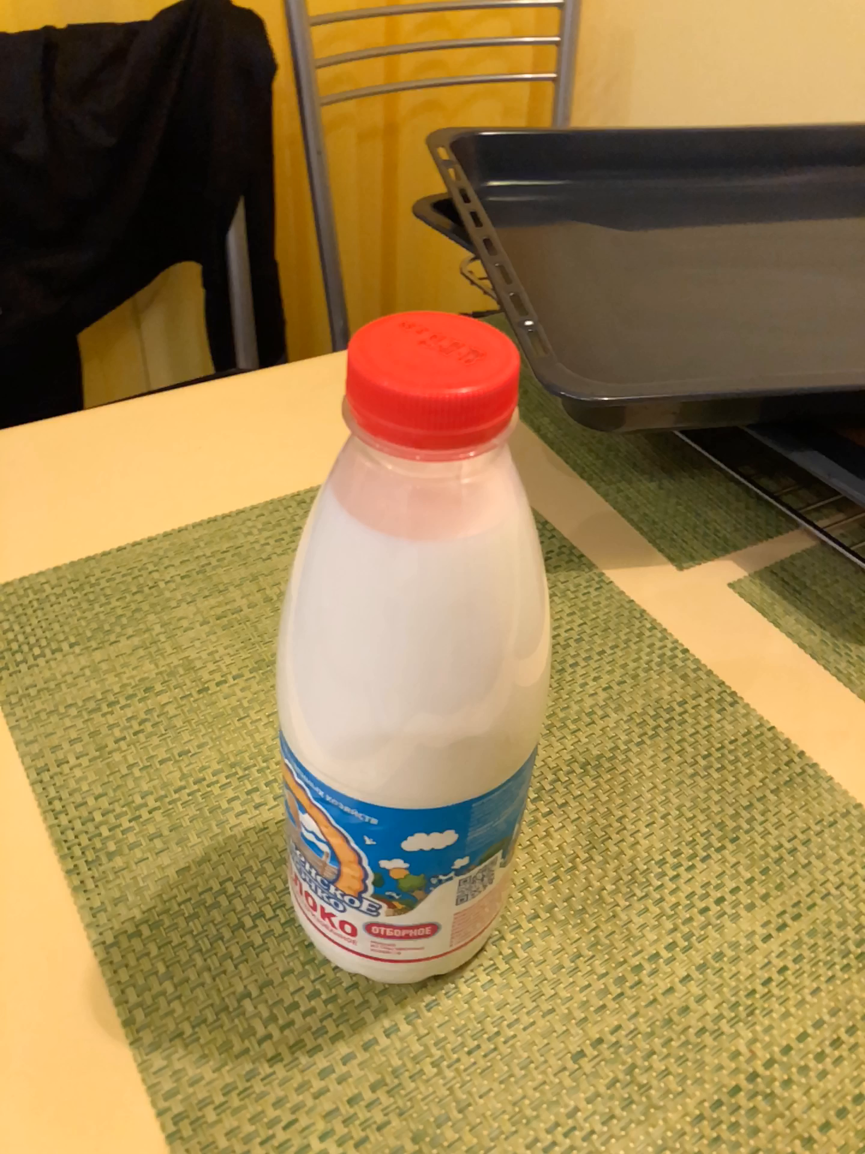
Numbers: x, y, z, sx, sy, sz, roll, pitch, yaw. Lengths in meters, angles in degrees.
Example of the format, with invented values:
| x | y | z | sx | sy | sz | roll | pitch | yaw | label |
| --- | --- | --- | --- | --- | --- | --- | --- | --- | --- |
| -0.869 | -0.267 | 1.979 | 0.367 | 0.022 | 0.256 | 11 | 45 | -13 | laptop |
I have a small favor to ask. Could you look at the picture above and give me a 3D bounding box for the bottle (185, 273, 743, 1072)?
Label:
| x | y | z | sx | sy | sz | roll | pitch | yaw | label |
| --- | --- | --- | --- | --- | --- | --- | --- | --- | --- |
| -0.001 | 0.040 | 0.287 | 0.090 | 0.218 | 0.090 | 2 | 42 | -2 | bottle |
